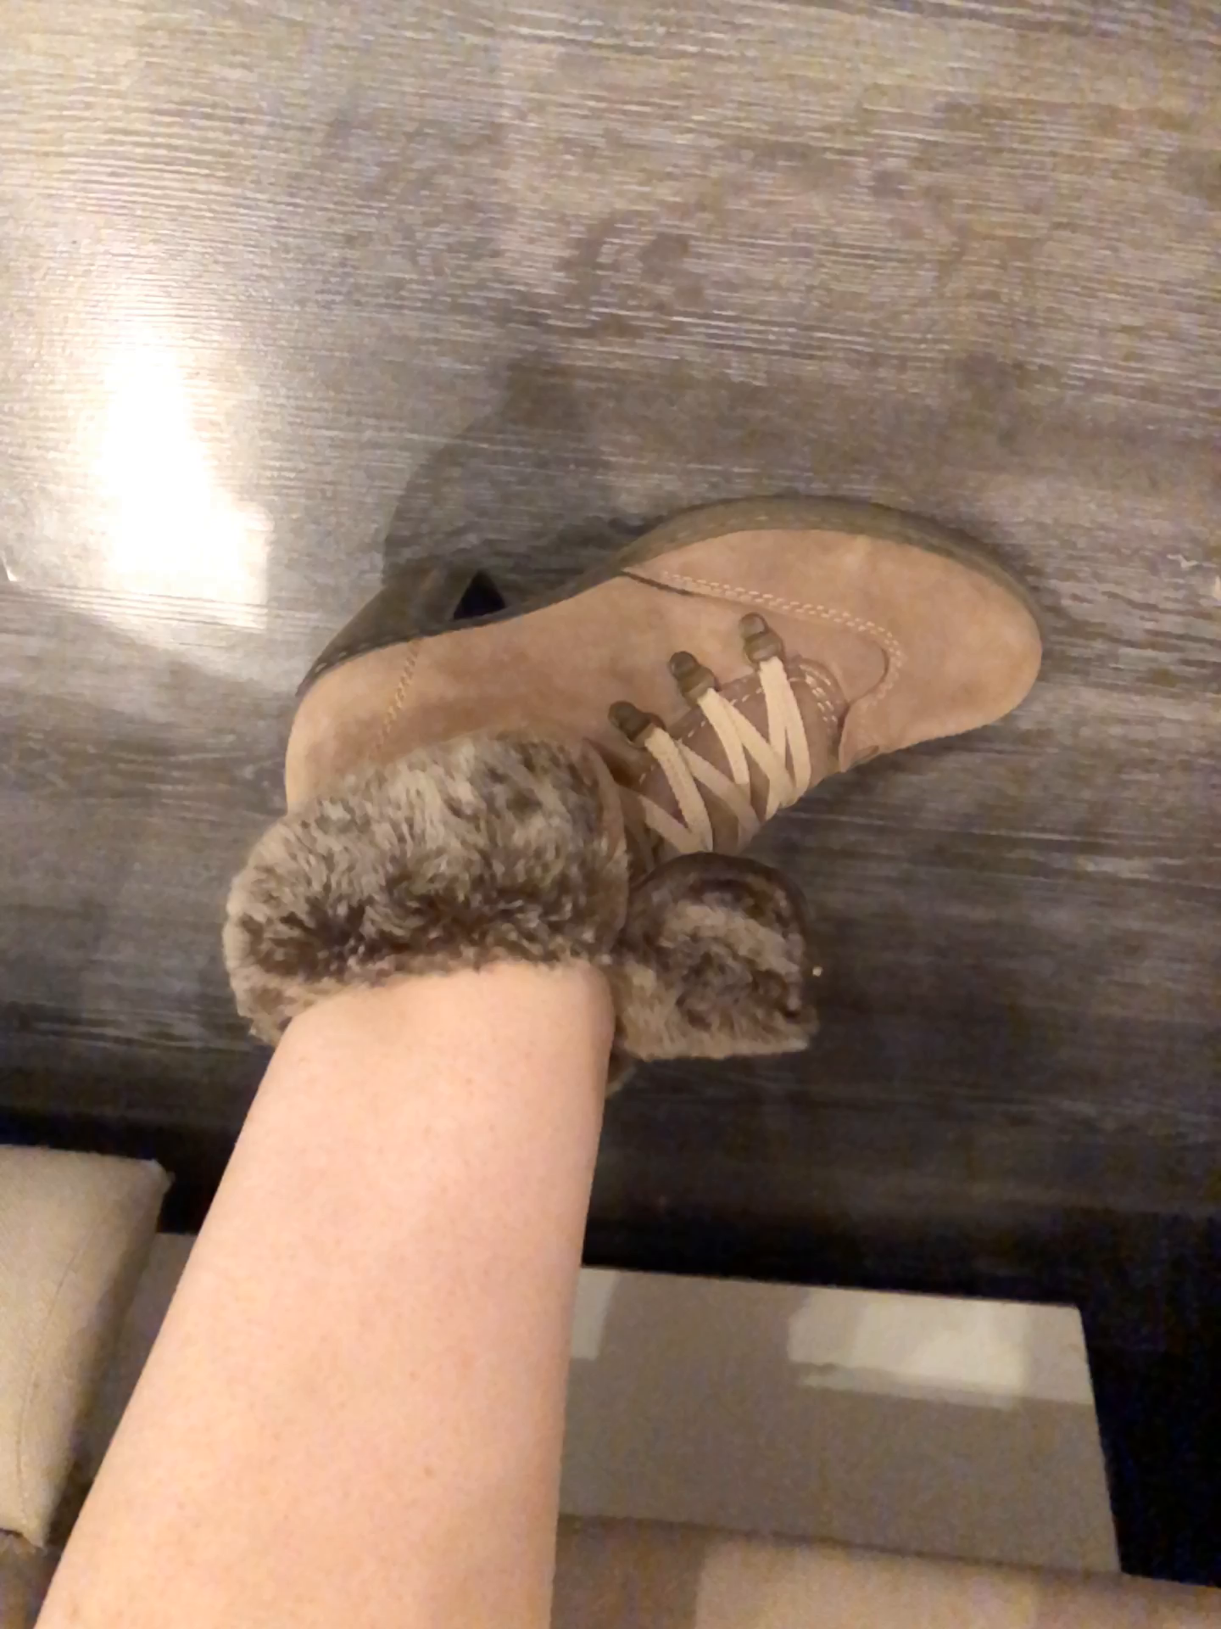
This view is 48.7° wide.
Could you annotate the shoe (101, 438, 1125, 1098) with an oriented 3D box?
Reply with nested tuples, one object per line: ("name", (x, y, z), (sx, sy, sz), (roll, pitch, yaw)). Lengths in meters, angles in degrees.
("shoe", (0.007, -0.010, 0.418), (0.250, 0.149, 0.120), (-3, 138, 9))
